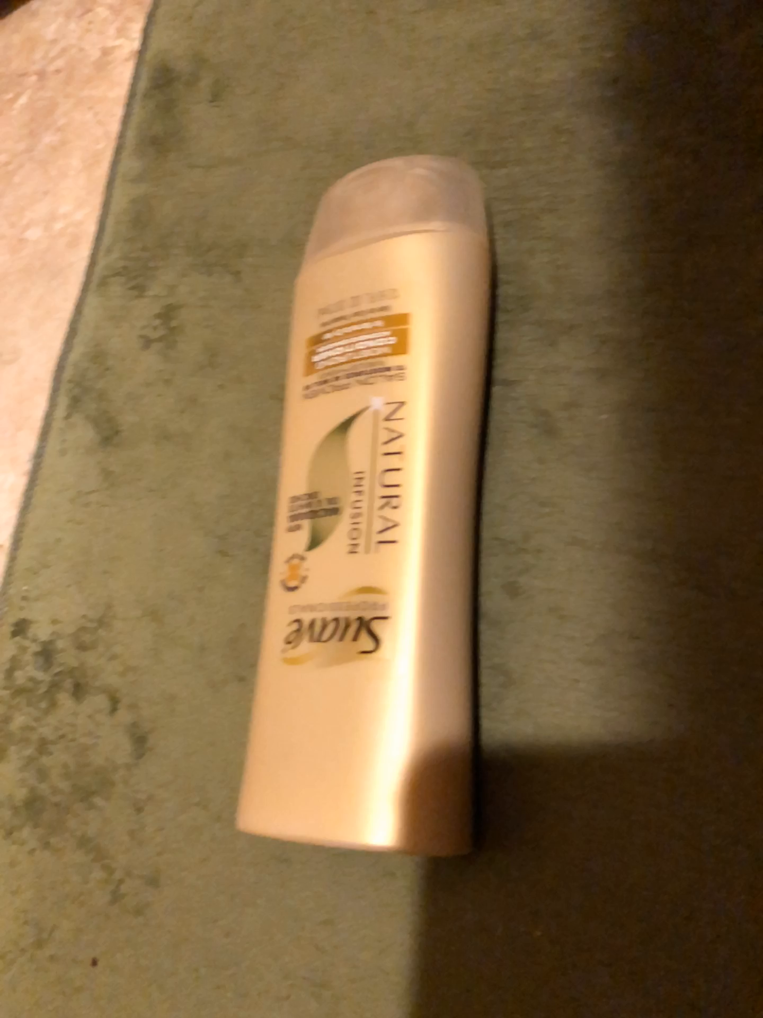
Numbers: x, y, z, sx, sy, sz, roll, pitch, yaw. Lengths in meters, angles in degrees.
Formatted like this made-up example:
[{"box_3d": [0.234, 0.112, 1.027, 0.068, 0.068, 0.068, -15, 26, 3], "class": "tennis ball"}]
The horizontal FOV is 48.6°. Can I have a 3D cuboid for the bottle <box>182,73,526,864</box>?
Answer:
[{"box_3d": [-0.003, -0.014, 0.265, 0.080, 0.050, 0.220, -7, 72, 32], "class": "bottle"}]
